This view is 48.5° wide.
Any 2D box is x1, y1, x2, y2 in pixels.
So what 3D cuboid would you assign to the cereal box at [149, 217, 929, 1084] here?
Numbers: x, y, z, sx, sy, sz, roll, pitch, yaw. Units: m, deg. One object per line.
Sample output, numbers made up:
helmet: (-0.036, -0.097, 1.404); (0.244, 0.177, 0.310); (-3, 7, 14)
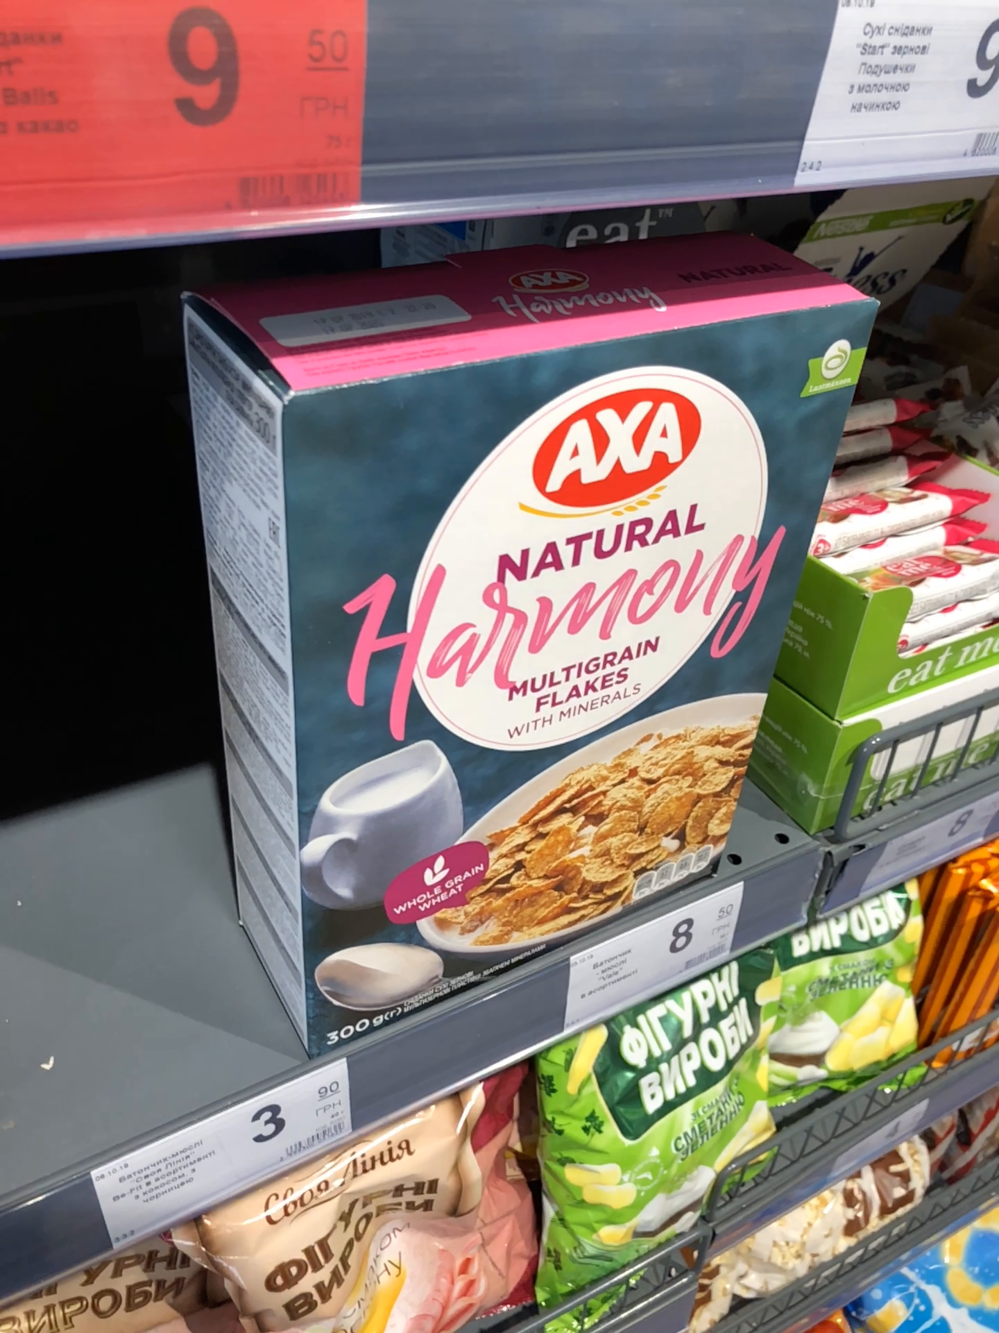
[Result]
cereal box: (0.008, -0.004, 0.334); (0.181, 0.218, 0.070); (-18, 43, -27)
